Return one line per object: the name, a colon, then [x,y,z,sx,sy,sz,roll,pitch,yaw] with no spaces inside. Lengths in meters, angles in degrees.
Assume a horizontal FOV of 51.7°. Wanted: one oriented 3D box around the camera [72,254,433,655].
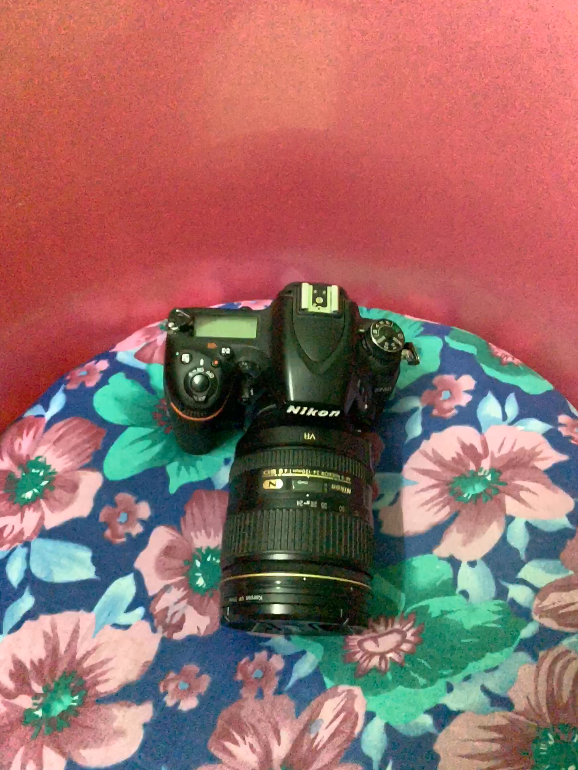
camera: [-0.011,0.038,0.324,0.140,0.111,0.180,3,59,0]
